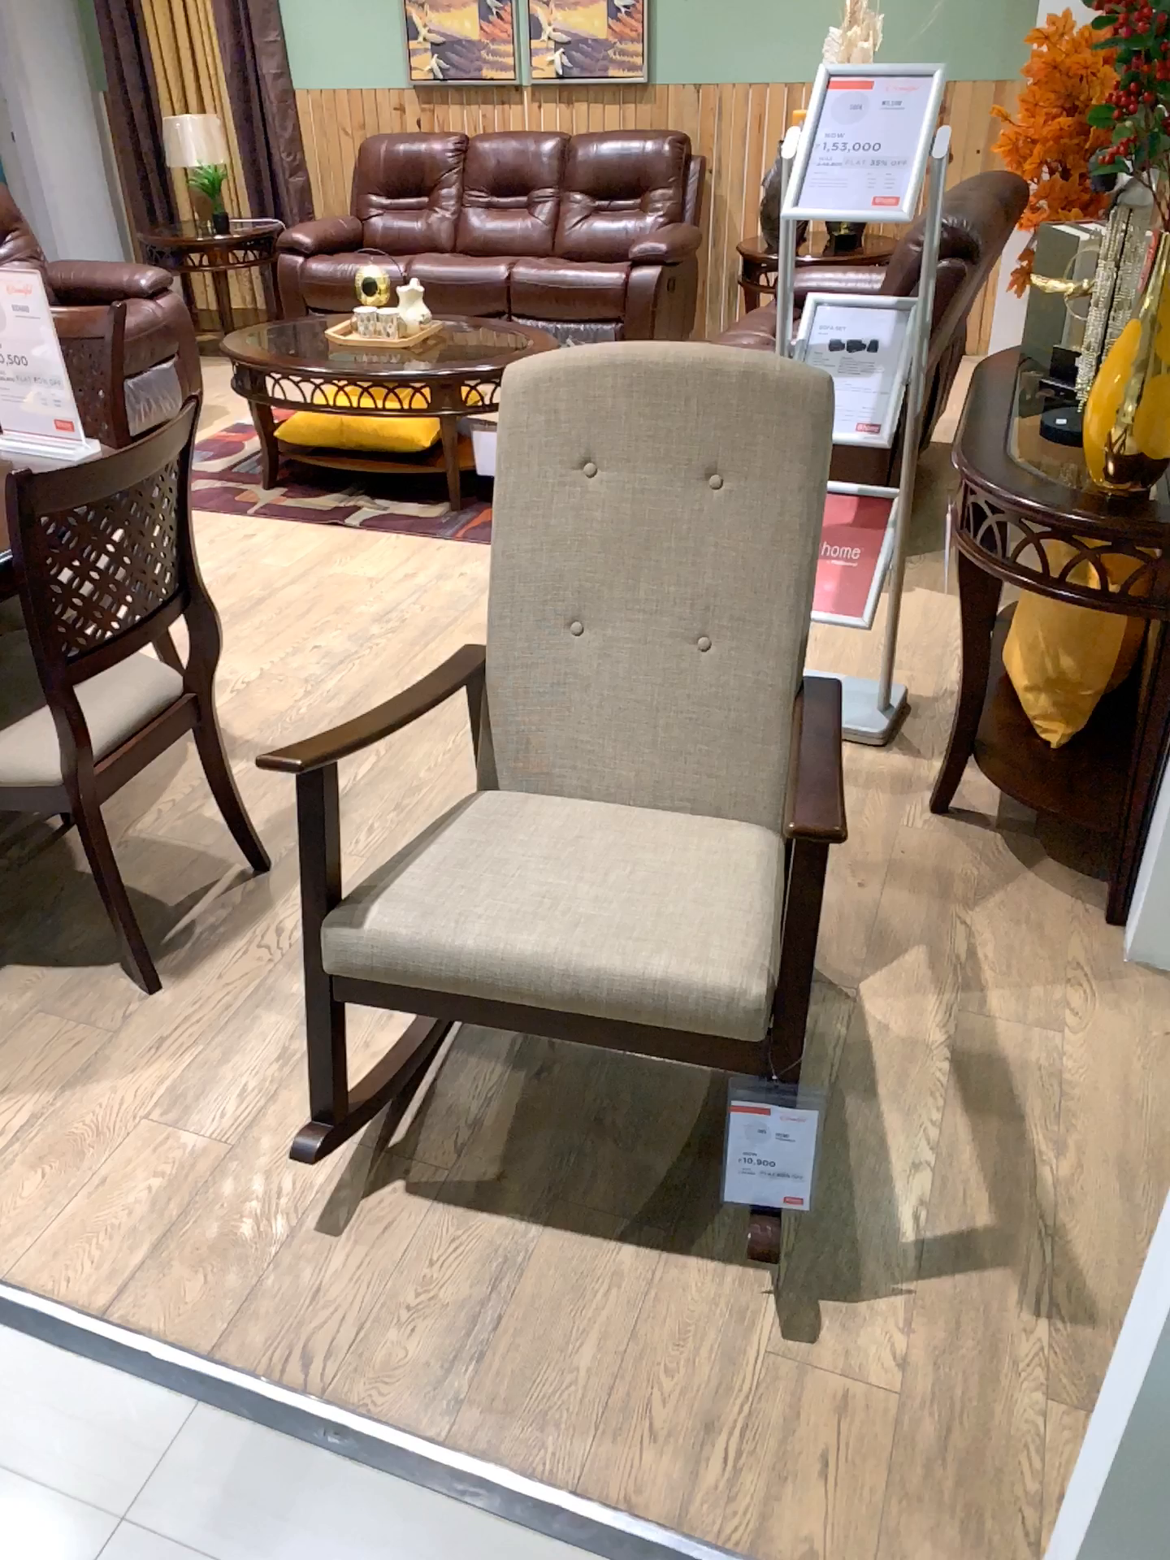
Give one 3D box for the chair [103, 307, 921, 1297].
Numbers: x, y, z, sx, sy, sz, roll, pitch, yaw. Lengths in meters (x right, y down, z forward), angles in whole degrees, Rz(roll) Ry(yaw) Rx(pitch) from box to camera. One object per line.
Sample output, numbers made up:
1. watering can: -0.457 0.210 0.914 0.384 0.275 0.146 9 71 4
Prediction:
1. chair: 0.021 -0.039 1.625 0.730 0.976 0.843 6 33 12
